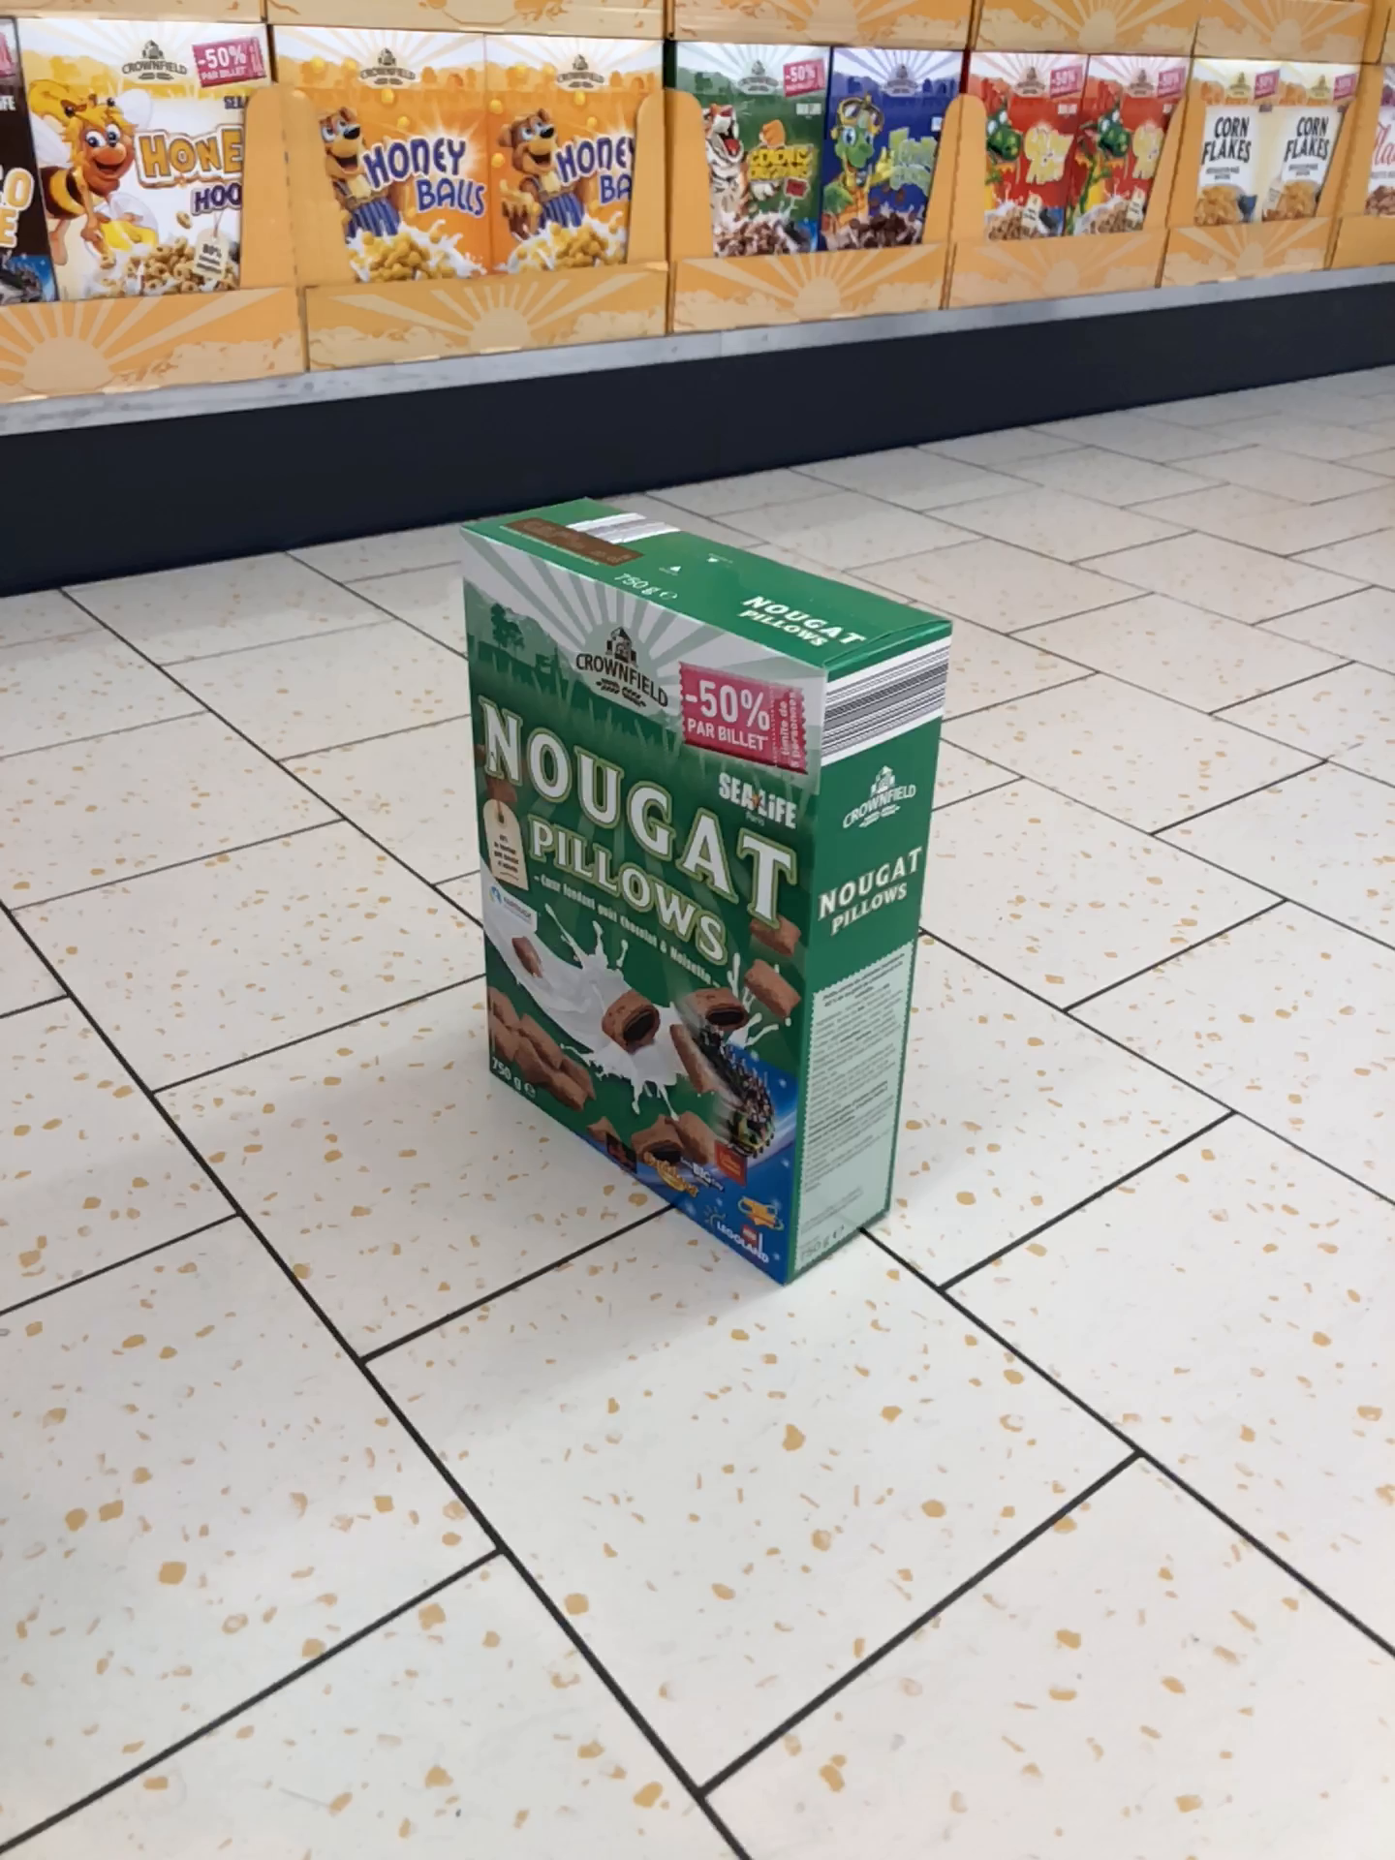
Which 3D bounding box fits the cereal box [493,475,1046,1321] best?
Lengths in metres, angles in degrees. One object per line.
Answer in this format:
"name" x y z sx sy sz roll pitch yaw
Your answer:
"cereal box" 0.013 -0.017 0.601 0.070 0.268 0.200 -24 39 -38
